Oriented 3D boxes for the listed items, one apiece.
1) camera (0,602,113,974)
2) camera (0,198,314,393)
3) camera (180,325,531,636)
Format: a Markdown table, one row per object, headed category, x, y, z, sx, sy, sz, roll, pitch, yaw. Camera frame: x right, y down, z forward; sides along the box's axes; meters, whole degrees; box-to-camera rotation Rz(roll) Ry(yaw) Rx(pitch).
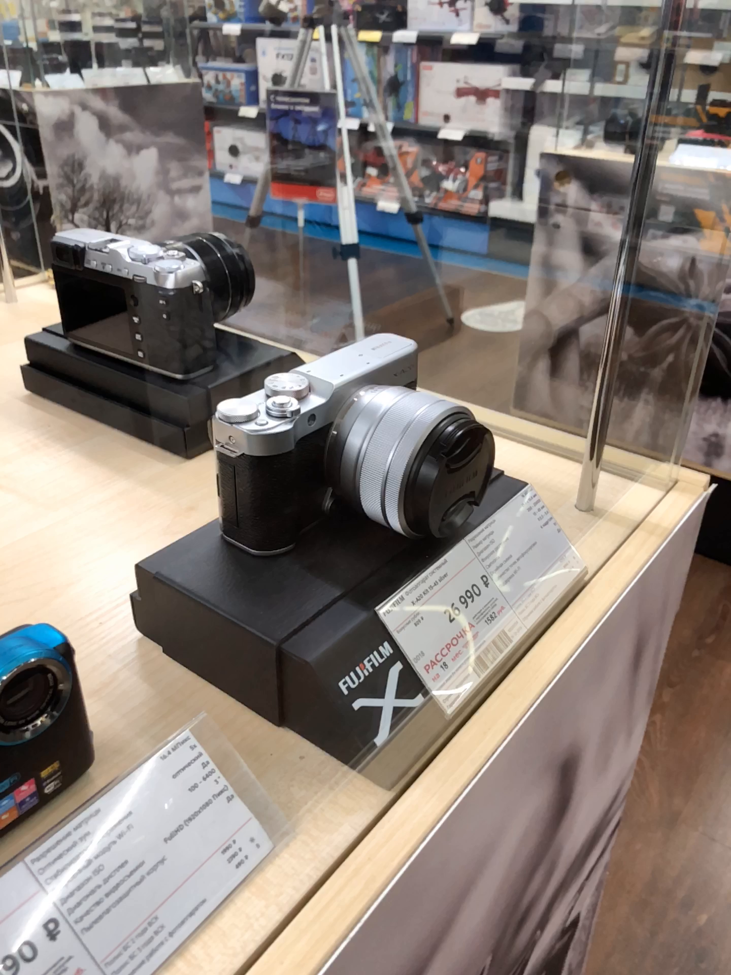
| category | x | y | z | sx | sy | sz | roll | pitch | yaw |
| --- | --- | --- | --- | --- | --- | --- | --- | --- | --- |
| camera | -0.136 | 0.092 | 0.254 | 0.025 | 0.064 | 0.106 | 22 | 36 | 31 |
| camera | -0.151 | -0.146 | 0.575 | 0.187 | 0.074 | 0.130 | 21 | 35 | 30 |
| camera | -0.001 | -0.012 | 0.354 | 0.093 | 0.070 | 0.120 | 21 | 36 | 31 |
